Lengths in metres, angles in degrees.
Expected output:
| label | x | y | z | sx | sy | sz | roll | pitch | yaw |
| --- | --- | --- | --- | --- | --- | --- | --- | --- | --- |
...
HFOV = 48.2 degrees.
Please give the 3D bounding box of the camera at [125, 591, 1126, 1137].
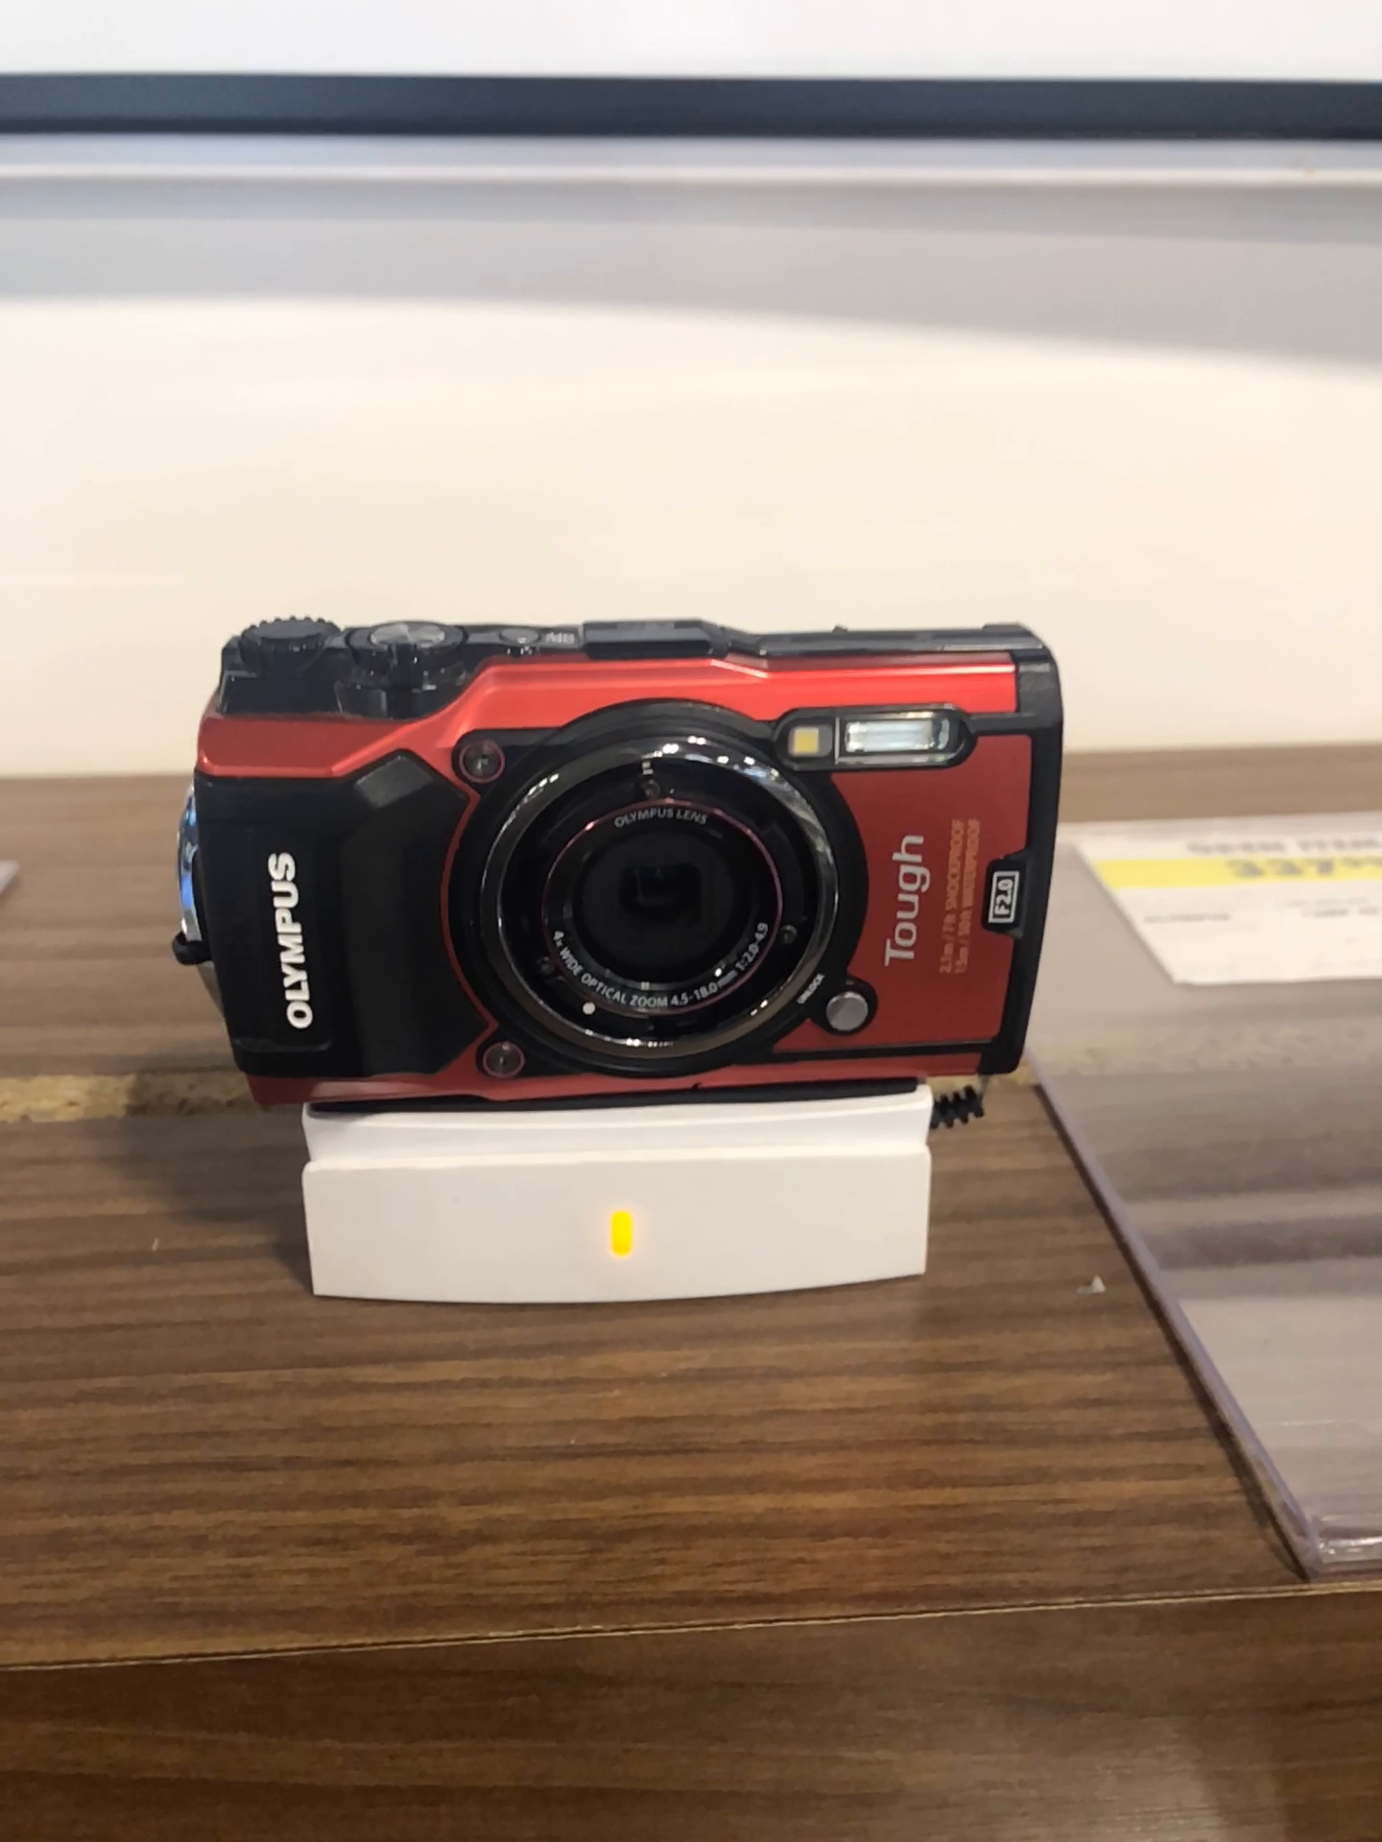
| label | x | y | z | sx | sy | sz | roll | pitch | yaw |
| --- | --- | --- | --- | --- | --- | --- | --- | --- | --- |
| camera | -0.008 | -0.008 | 0.207 | 0.117 | 0.064 | 0.030 | -1 | 24 | -3 |
